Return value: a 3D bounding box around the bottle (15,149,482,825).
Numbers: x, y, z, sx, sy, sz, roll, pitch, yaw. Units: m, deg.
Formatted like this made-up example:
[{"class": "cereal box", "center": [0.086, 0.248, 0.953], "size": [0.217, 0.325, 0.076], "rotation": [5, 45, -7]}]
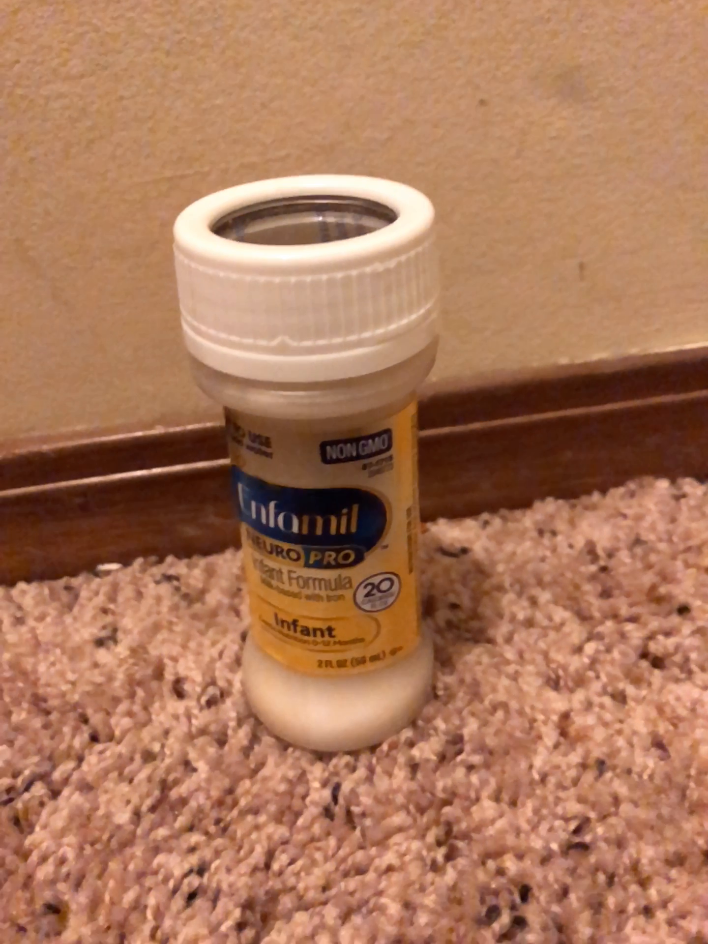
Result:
[{"class": "bottle", "center": [-0.009, 0.005, 0.150], "size": [0.050, 0.110, 0.050], "rotation": [-3, 37, 2]}]
